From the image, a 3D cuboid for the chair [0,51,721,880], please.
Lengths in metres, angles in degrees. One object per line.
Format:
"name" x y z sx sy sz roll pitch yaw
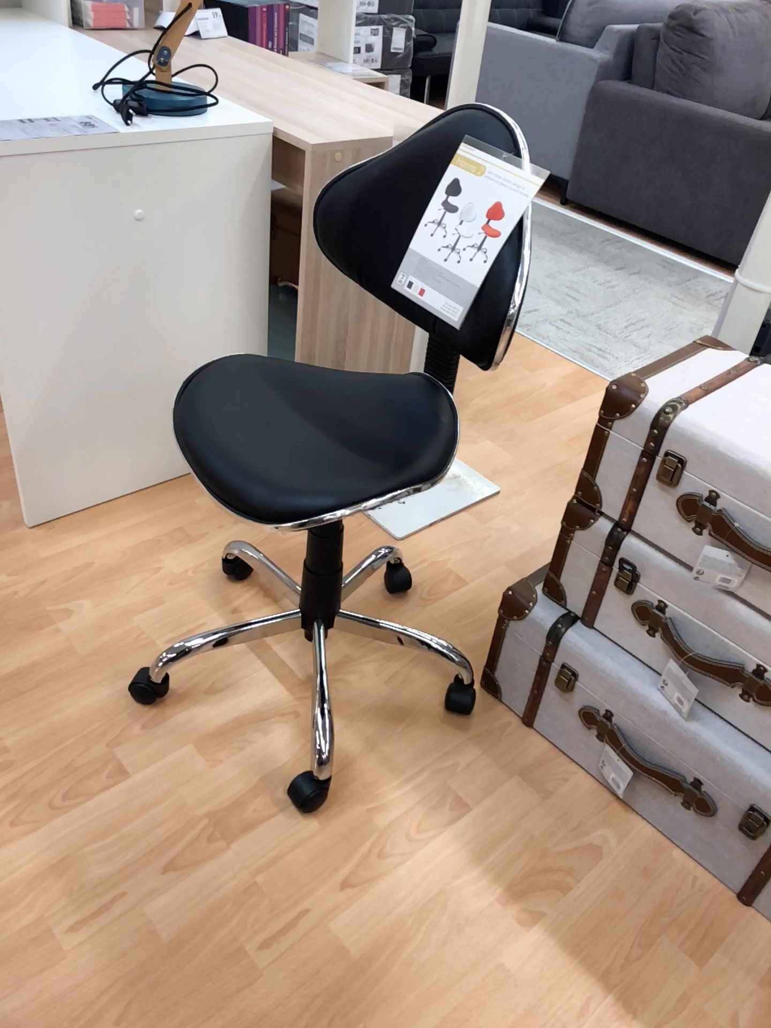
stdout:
"chair" -0.078 -0.114 1.207 0.600 0.854 0.614 34 44 31
